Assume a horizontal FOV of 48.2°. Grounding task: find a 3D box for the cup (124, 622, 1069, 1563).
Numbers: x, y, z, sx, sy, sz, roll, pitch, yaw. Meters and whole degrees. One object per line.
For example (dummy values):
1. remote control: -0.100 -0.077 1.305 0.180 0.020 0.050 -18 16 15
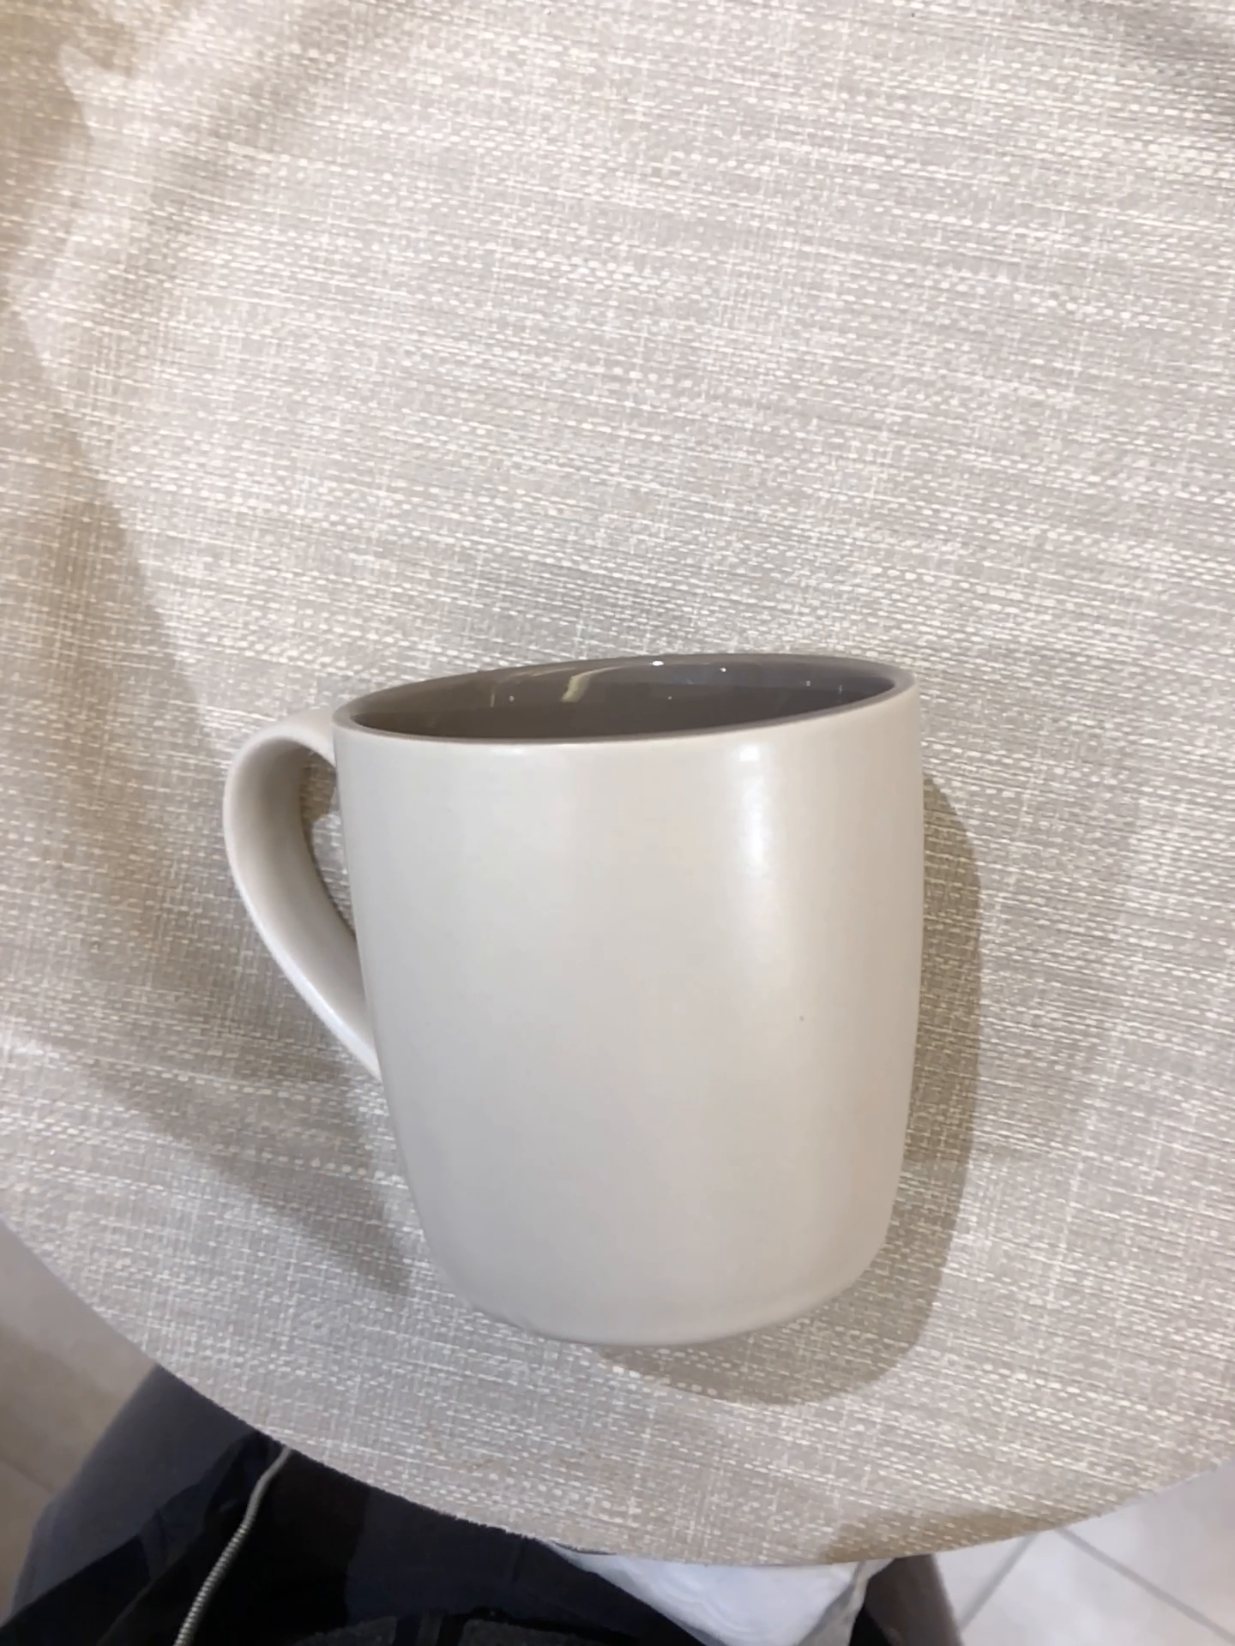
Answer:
1. cup: -0.001 0.022 0.198 0.100 0.080 0.090 6 106 41
